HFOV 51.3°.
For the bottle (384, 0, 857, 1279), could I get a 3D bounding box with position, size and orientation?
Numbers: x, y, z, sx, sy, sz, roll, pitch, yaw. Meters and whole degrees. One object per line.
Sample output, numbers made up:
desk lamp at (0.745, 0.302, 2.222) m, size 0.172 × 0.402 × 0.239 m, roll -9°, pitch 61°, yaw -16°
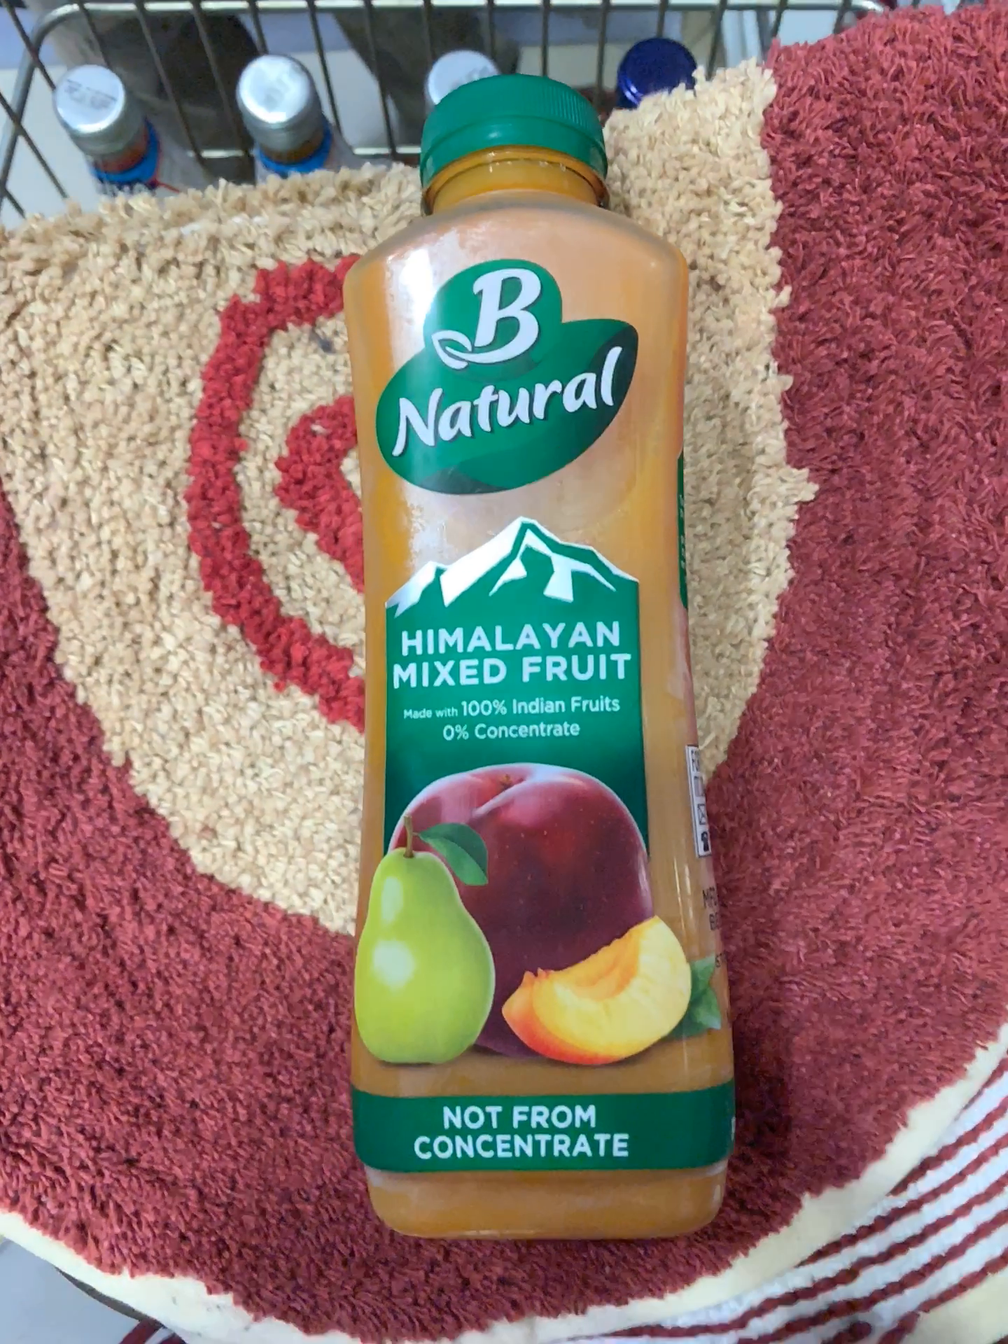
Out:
bottle at (0.018, -0.017, 0.212) m, size 0.070 × 0.070 × 0.230 m, roll -1°, pitch 79°, yaw 3°
